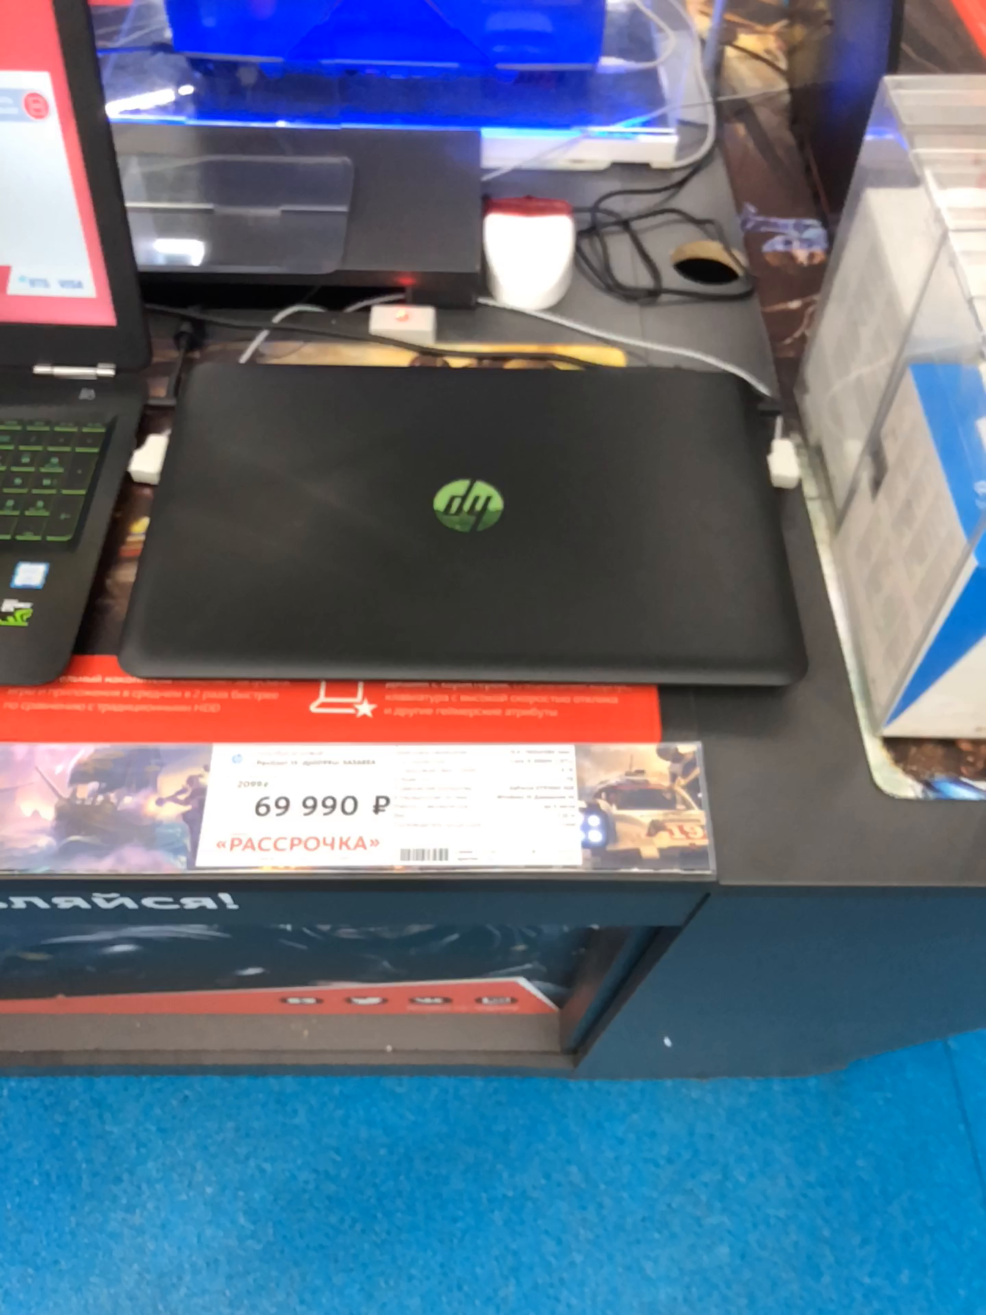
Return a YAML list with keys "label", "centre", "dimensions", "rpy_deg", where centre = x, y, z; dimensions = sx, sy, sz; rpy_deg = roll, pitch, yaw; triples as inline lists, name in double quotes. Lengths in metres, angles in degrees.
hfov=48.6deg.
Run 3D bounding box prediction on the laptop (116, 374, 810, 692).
- label: "laptop"
  centre: [-0.016, -0.084, 0.656]
  dimensions: [0.372, 0.006, 0.240]
  rpy_deg: [1, 55, -1]
